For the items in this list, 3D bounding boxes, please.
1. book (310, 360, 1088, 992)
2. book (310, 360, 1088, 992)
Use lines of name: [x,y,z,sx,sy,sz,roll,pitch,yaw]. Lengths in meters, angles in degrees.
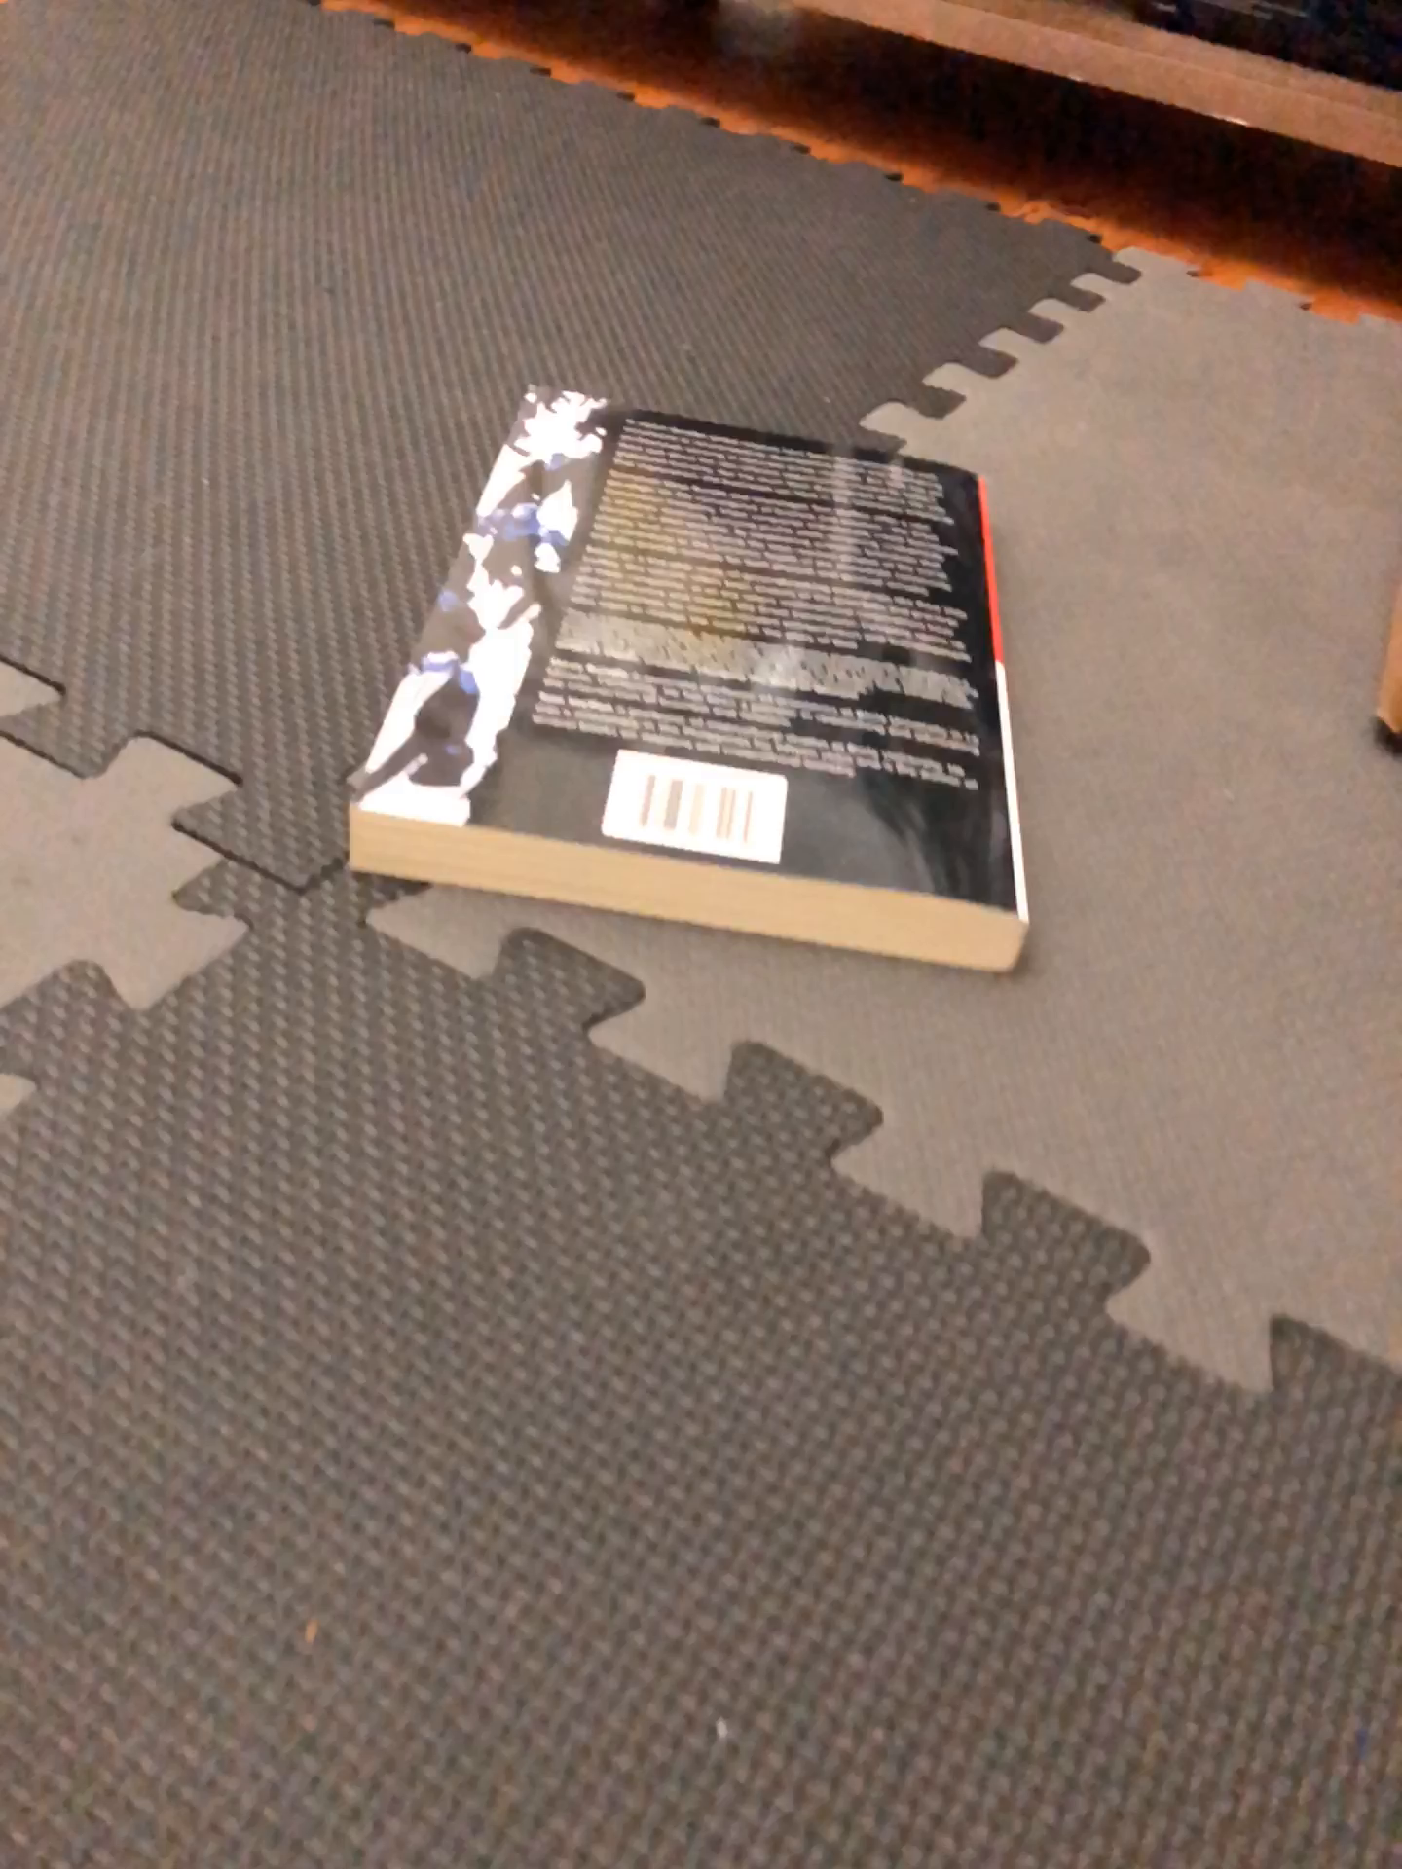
book: [0.009,-0.082,0.389,0.150,0.020,0.231,9,40,-1]
book: [0.009,-0.082,0.389,0.150,0.020,0.231,9,40,-1]
